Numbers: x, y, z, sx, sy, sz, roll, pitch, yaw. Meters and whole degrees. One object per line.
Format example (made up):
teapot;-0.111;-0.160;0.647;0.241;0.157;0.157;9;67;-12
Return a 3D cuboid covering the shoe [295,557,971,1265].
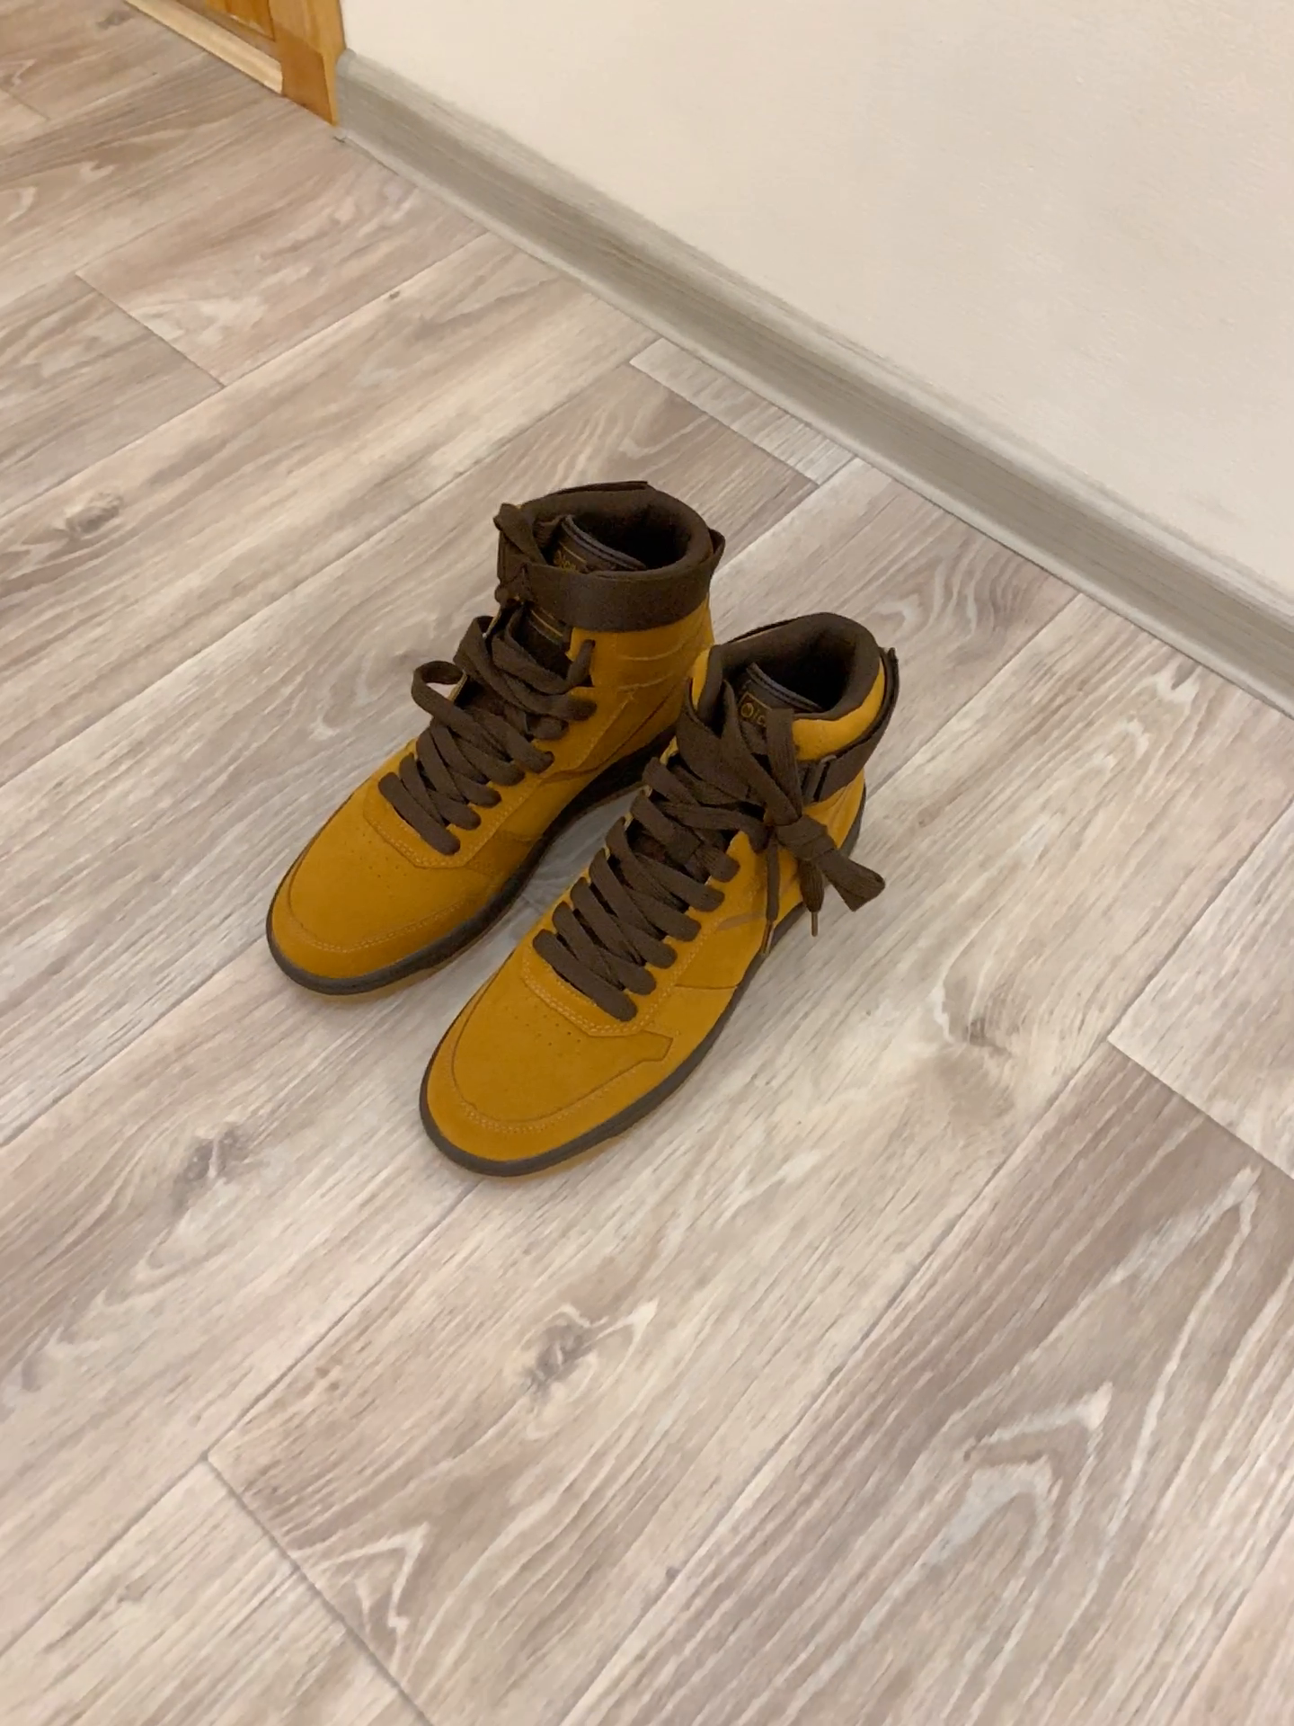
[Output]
shoe;0.002;0.016;0.574;0.101;0.140;0.280;38;63;19

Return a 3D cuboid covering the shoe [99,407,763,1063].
shoe;-0.082;-0.063;0.609;0.101;0.140;0.280;38;63;19
